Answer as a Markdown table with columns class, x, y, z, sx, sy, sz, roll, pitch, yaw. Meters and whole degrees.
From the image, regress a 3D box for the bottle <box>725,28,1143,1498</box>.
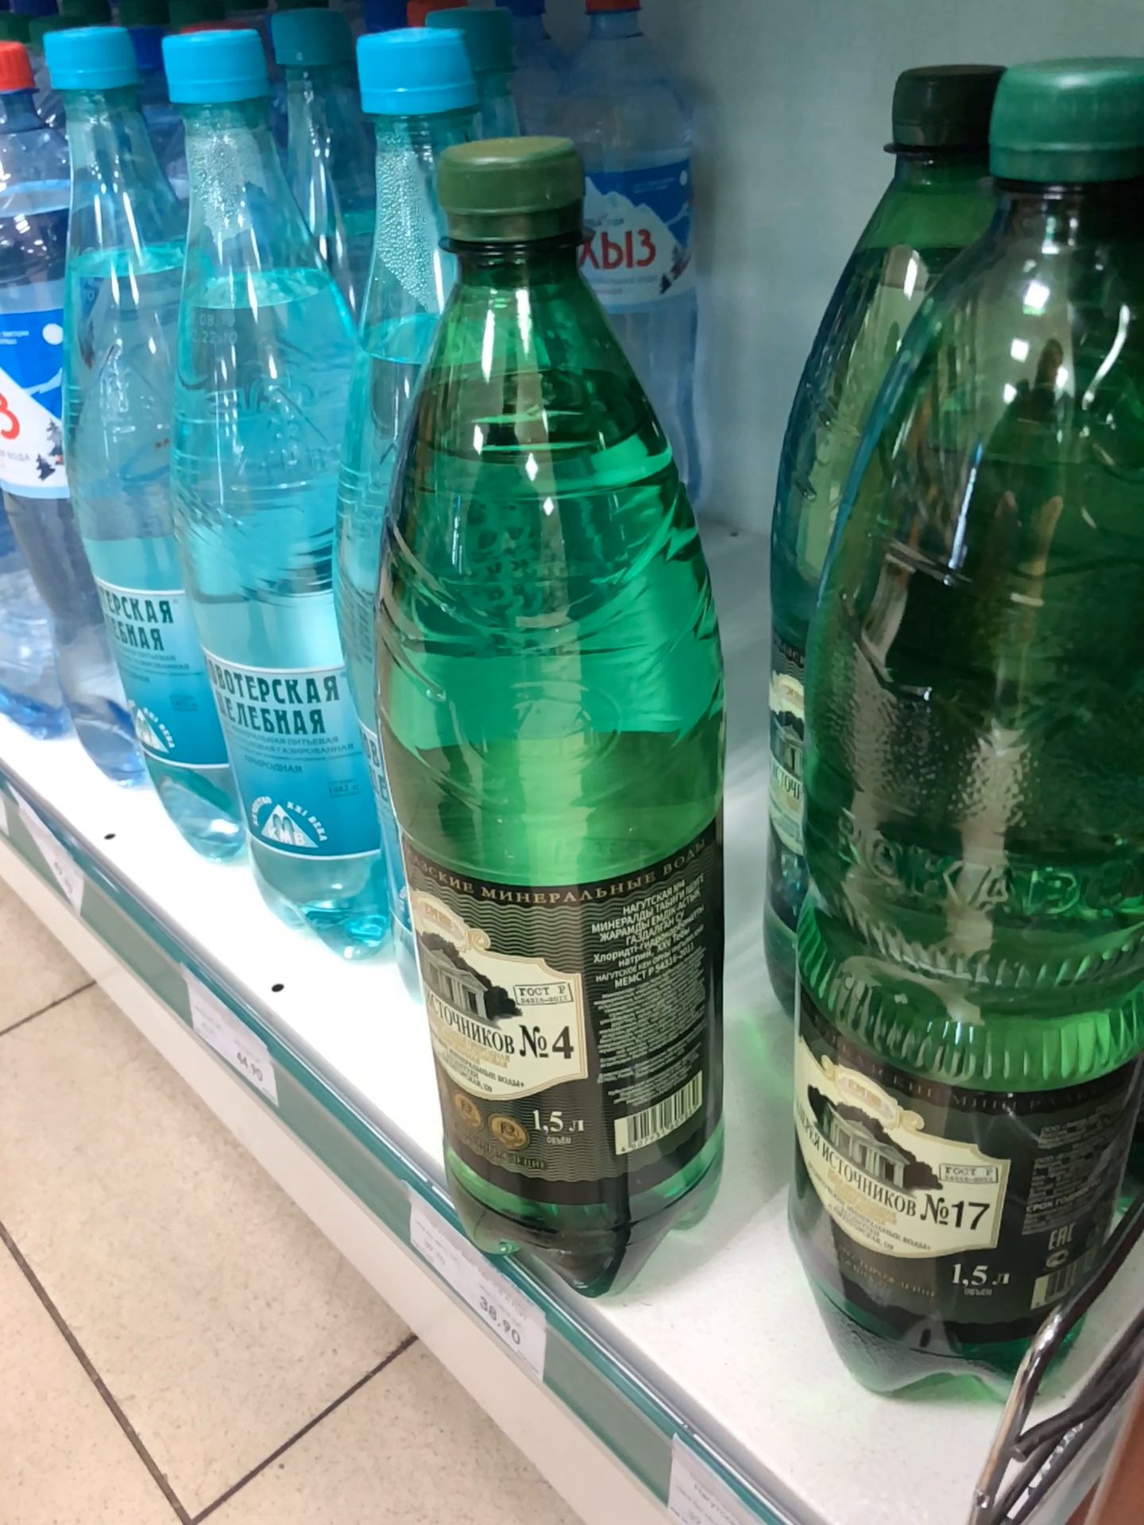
| class | x | y | z | sx | sy | sz | roll | pitch | yaw |
| --- | --- | --- | --- | --- | --- | --- | --- | --- | --- |
| bottle | 0.098 | 0.024 | 0.291 | 0.082 | 0.326 | 0.091 | -30 | 42 | -33 |

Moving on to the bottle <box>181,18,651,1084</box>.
| class | x | y | z | sx | sy | sz | roll | pitch | yaw |
| --- | --- | --- | --- | --- | --- | --- | --- | --- | --- |
| bottle | -0.035 | -0.050 | 0.413 | 0.076 | 0.326 | 0.084 | -3 | 34 | 2 |

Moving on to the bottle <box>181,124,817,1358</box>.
| class | x | y | z | sx | sy | sz | roll | pitch | yaw |
| --- | --- | --- | --- | --- | --- | --- | --- | --- | --- |
| bottle | -0.007 | 0.011 | 0.336 | 0.088 | 0.308 | 0.092 | -3 | 34 | 2 |
